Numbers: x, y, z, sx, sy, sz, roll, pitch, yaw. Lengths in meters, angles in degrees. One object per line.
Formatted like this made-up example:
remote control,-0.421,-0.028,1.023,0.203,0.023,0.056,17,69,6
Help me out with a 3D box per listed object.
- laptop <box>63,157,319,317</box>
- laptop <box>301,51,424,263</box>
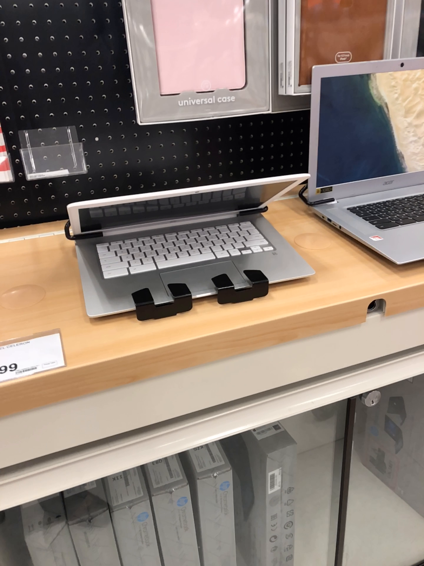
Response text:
laptop,-0.039,-0.089,0.706,0.330,0.100,0.216,-10,34,-15
laptop,0.401,-0.245,0.808,0.388,0.244,0.274,-12,30,-19
